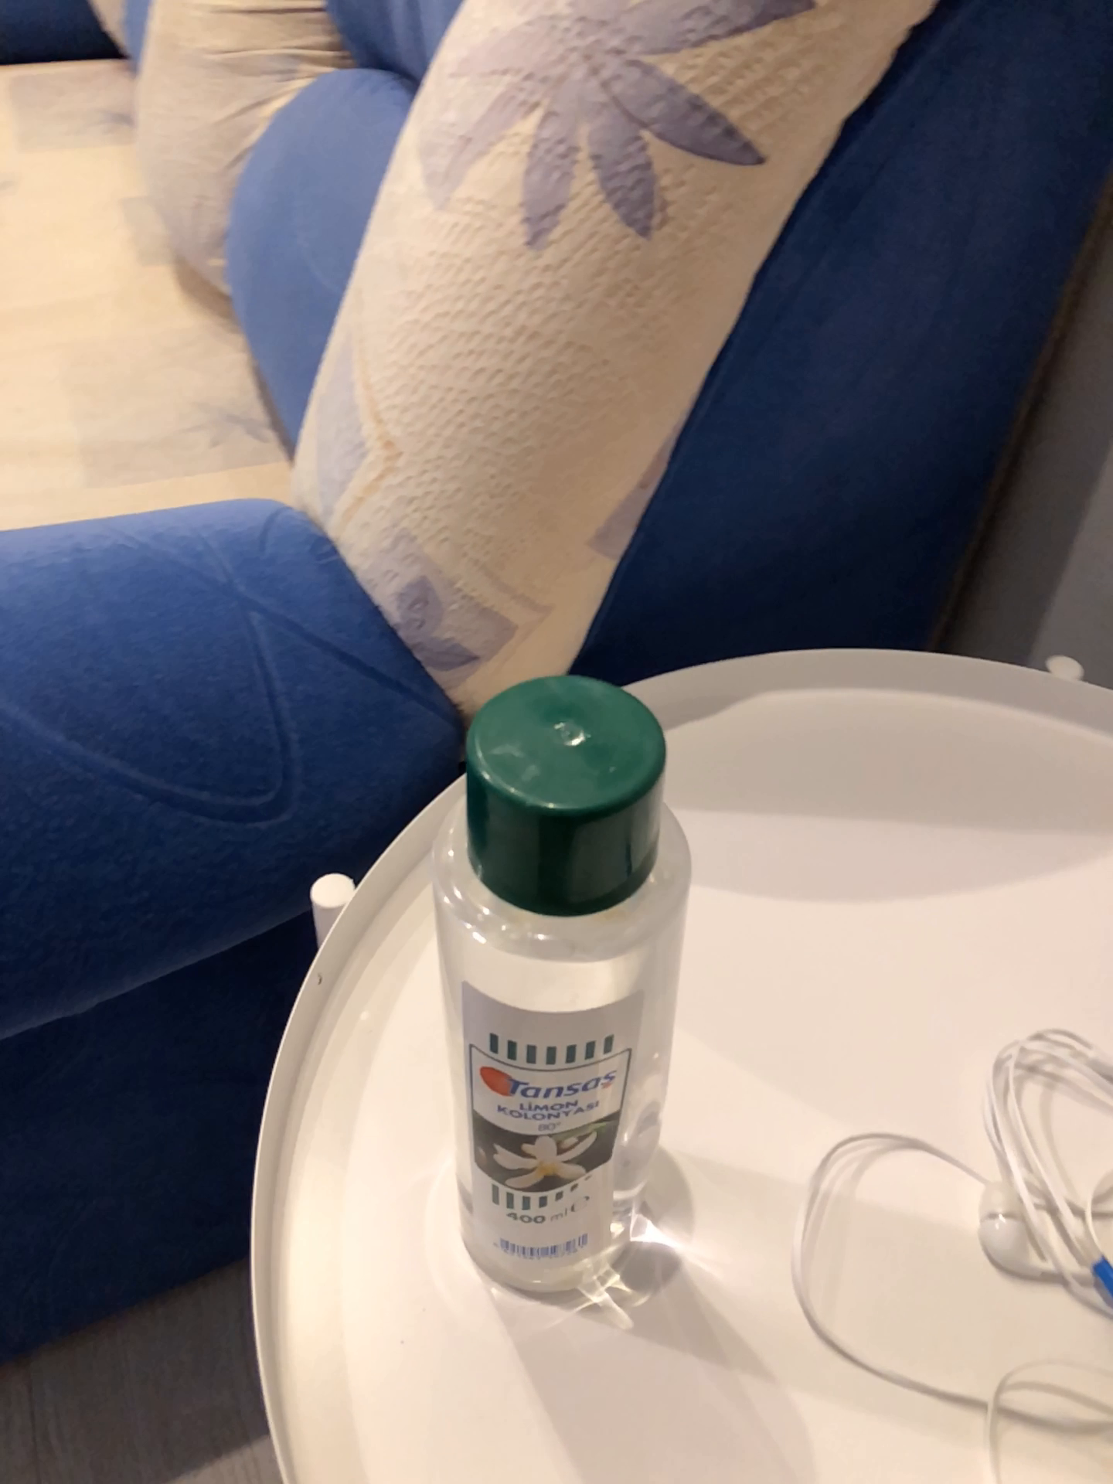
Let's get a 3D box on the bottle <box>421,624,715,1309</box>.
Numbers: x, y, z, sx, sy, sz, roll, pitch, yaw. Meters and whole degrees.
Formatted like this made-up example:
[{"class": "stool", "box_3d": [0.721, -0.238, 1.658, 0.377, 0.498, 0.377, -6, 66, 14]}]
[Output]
[{"class": "bottle", "box_3d": [0.001, 0.069, 0.306, 0.051, 0.199, 0.060, 6, 44, 3]}]
